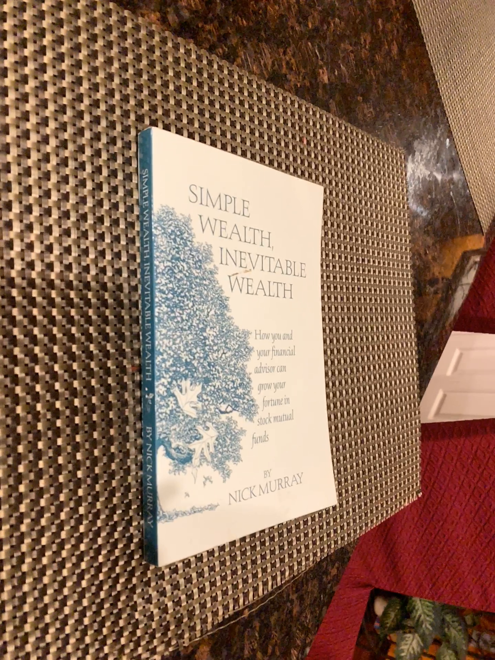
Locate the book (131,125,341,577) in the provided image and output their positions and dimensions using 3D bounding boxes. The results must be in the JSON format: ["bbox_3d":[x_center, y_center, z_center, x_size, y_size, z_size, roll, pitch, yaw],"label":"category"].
[{"bbox_3d":[0.002,0.010,0.294,0.141,0.021,0.210,0,88,-44],"label":"book"}]
